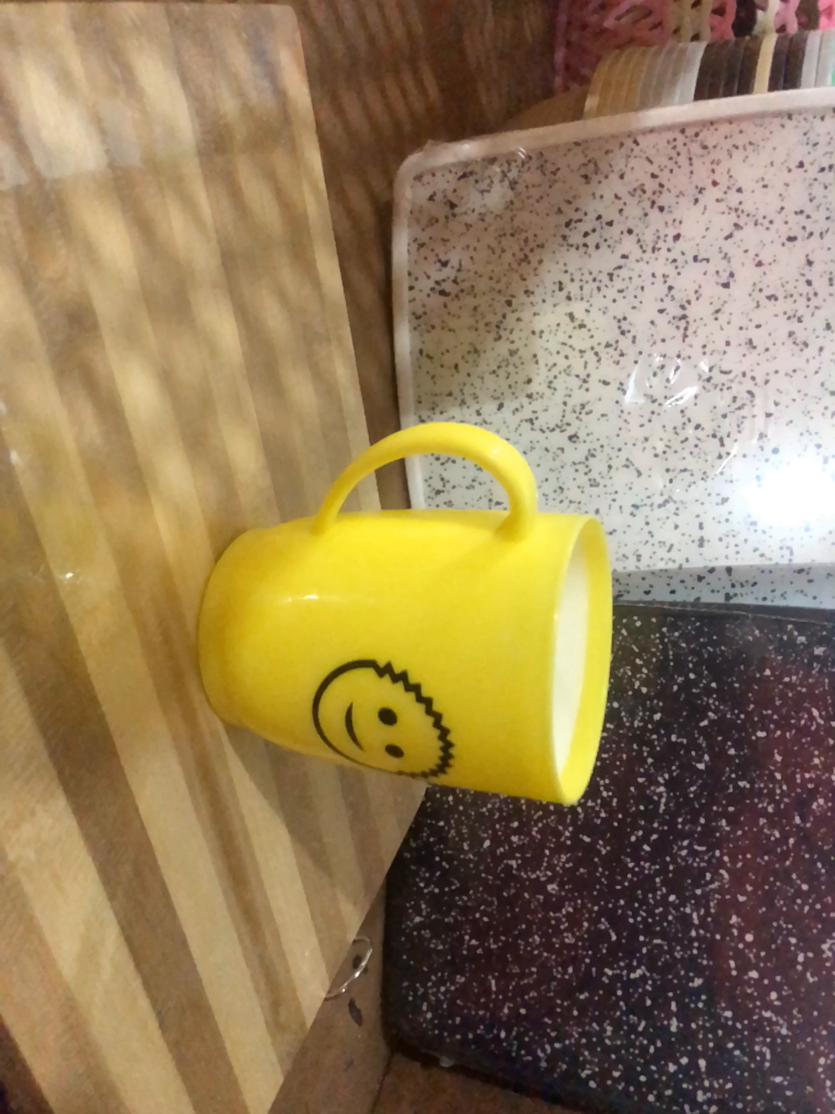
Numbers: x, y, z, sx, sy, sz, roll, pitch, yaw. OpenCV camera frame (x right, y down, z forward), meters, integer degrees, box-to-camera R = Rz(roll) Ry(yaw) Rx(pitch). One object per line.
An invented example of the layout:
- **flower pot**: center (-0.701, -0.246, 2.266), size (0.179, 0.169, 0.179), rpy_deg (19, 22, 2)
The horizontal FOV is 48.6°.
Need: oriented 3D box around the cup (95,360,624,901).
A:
- **cup**: center (-0.004, 0.015, 0.251), size (0.080, 0.099, 0.110), rpy_deg (-57, 143, -51)
